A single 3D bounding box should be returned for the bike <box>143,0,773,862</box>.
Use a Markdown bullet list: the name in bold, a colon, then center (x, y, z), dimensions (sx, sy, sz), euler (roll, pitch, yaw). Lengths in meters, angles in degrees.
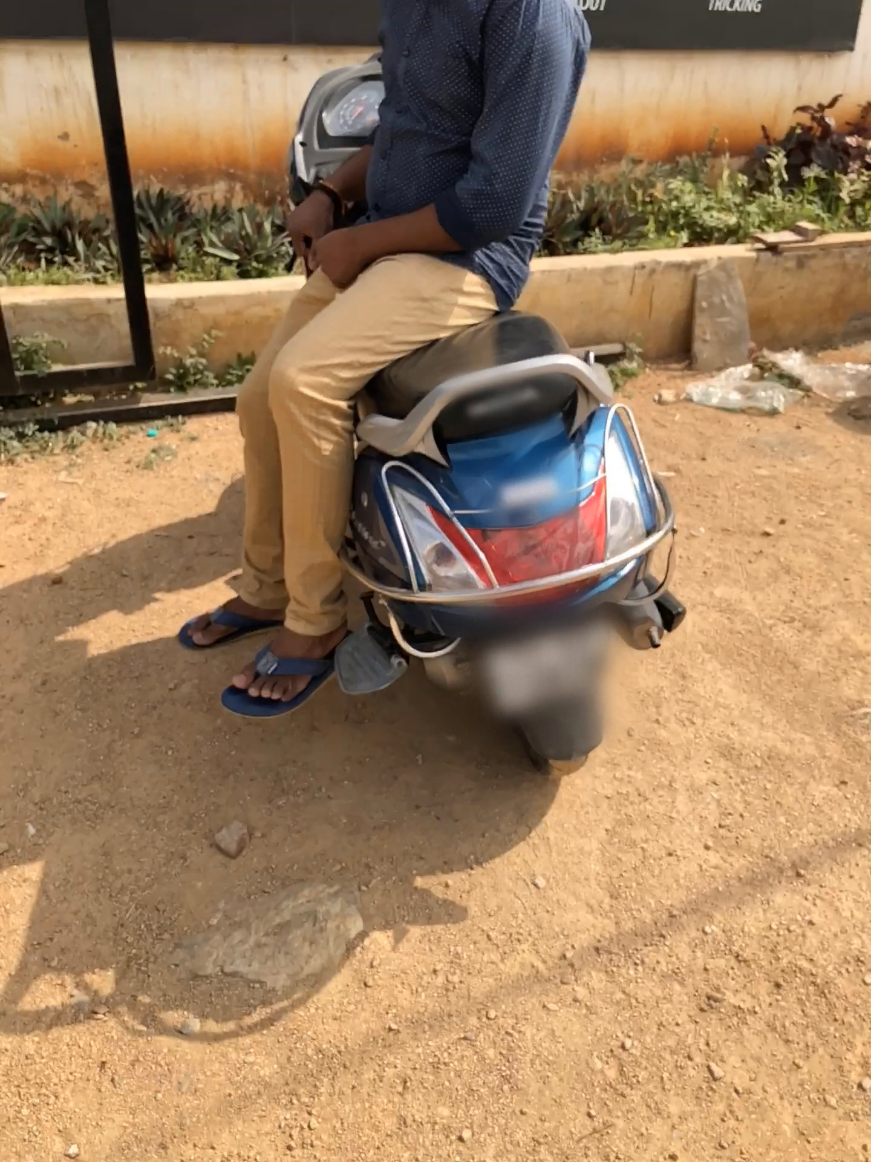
- **bike**: center (-0.156, -0.479, 1.936), dimensions (0.623, 1.115, 1.556), euler (-7, 33, -15)
